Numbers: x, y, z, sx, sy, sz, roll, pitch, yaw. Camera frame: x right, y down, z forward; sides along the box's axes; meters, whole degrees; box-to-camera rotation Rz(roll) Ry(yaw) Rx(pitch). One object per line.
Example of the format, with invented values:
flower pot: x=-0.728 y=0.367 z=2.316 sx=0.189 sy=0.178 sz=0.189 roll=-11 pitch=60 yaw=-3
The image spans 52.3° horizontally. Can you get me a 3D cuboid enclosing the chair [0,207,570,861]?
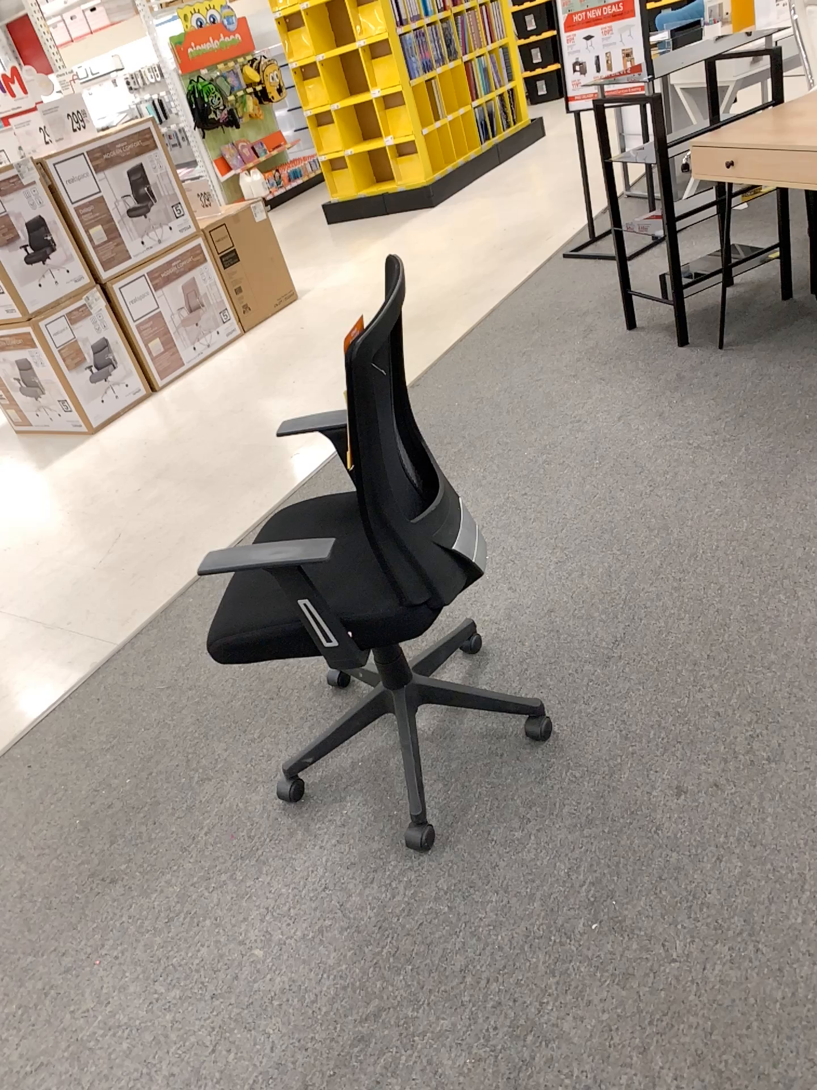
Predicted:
chair: x=-0.112 y=0.008 z=1.632 sx=0.641 sy=0.994 sz=0.673 roll=-6 pitch=33 yaw=20
